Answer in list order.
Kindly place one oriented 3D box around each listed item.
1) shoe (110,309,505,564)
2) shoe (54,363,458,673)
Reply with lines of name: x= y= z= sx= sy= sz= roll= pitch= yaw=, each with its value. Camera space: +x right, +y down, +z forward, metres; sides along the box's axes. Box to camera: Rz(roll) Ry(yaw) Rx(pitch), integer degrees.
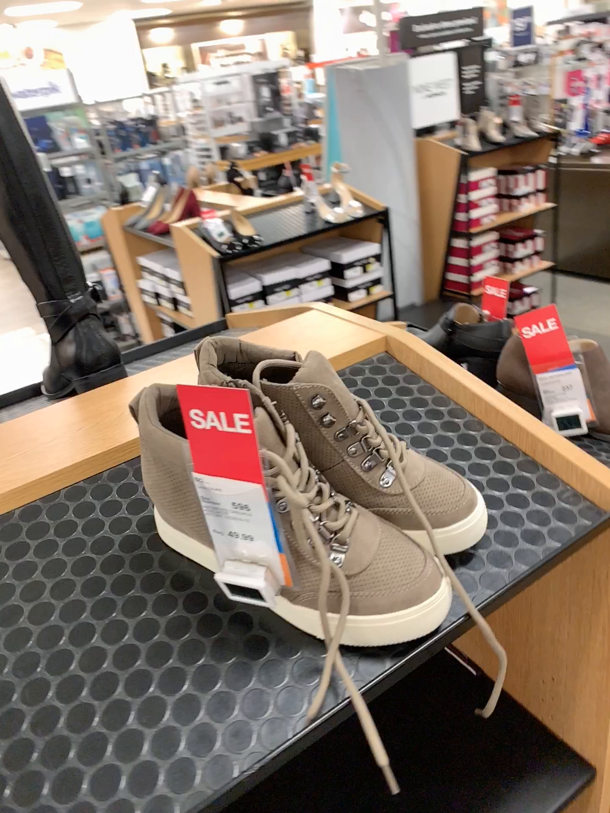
shoe: x=0.009 y=0.016 z=0.523 sx=0.290 sy=0.160 sz=0.100 roll=4 pitch=36 yaw=22
shoe: x=-0.029 y=0.072 z=0.470 sx=0.260 sy=0.160 sz=0.100 roll=7 pitch=37 yaw=26
